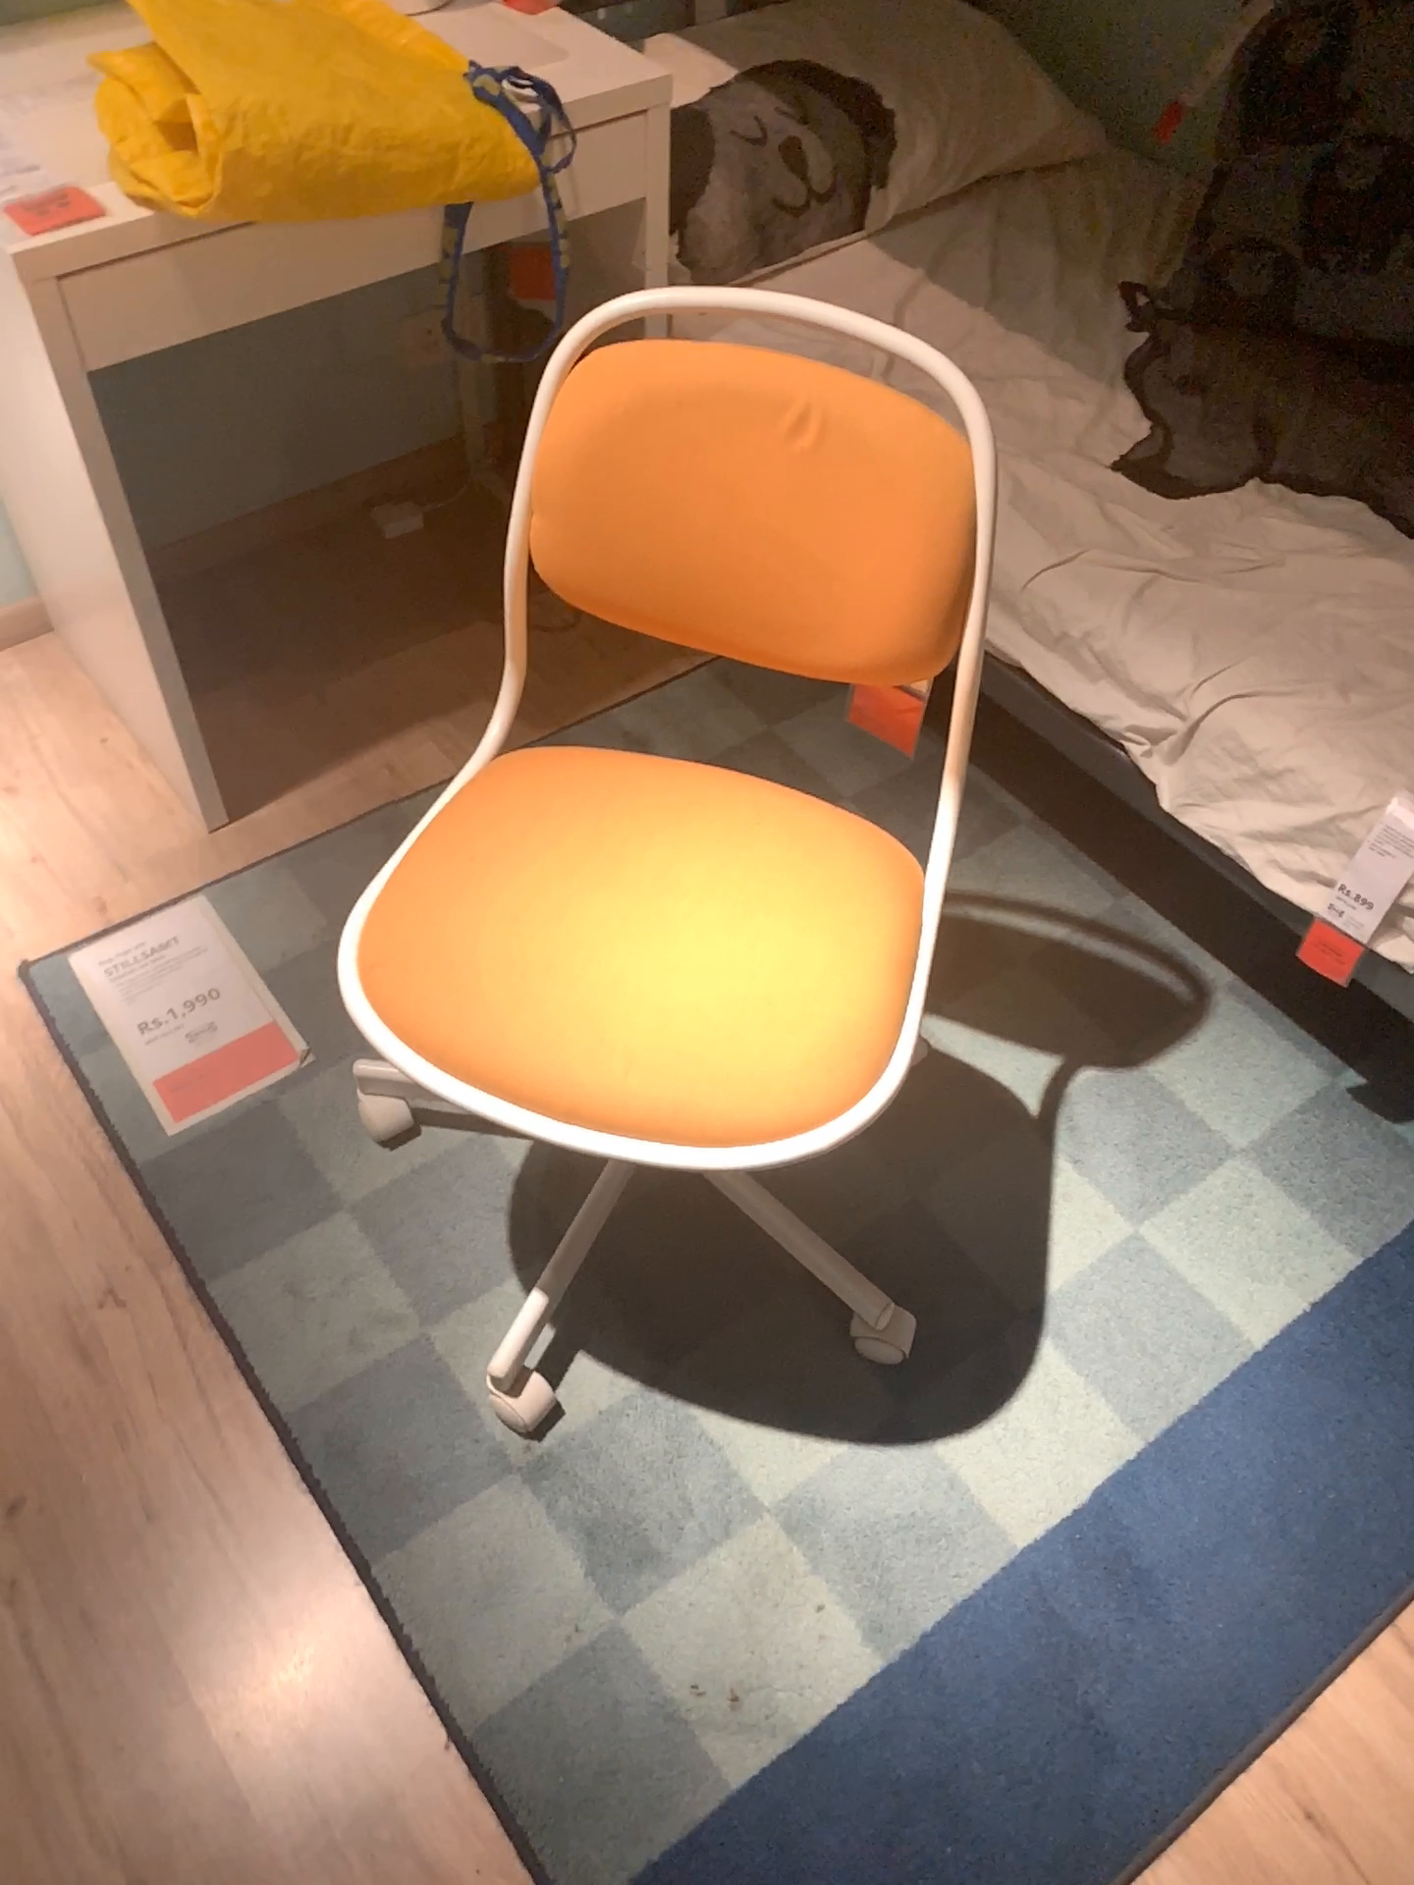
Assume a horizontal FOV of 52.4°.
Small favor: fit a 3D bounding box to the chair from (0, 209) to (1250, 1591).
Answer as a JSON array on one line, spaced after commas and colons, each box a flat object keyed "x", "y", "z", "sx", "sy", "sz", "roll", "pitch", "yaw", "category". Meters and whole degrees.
[{"x": -0.042, "y": -0.026, "z": 1.147, "sx": 0.610, "sy": 0.708, "sz": 0.652, "roll": 19, "pitch": 53, "yaw": 13, "category": "chair"}]
